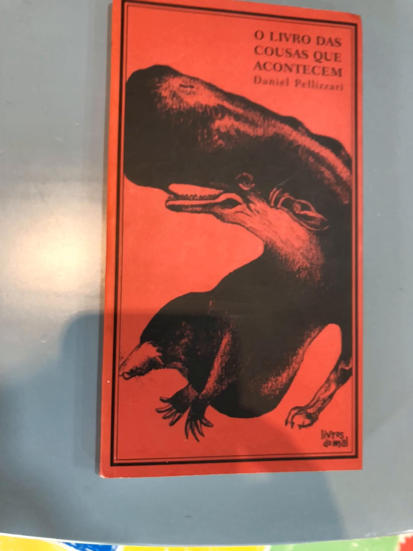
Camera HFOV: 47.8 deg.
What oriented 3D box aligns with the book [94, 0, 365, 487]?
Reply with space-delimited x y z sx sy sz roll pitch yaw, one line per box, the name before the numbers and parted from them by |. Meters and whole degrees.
book | 0.011 -0.017 0.199 0.110 0.016 0.200 1 87 -8
